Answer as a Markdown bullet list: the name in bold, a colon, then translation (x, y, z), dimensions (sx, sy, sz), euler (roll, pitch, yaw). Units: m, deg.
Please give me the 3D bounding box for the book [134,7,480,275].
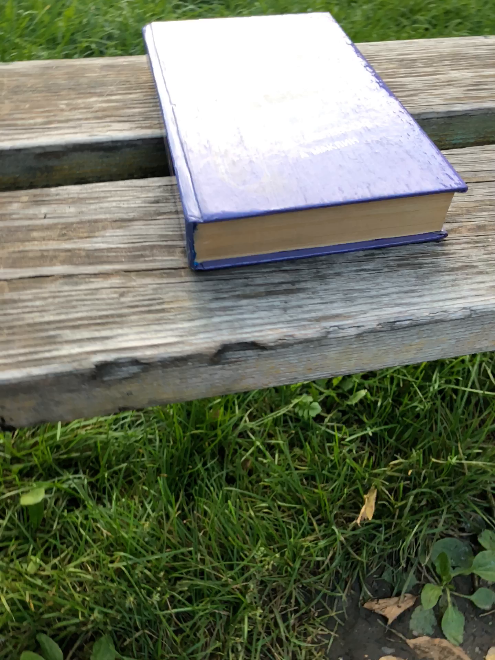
- **book**: translation (0.014, -0.120, 0.304), dimensions (0.131, 0.030, 0.205), euler (-9, 50, -9)
